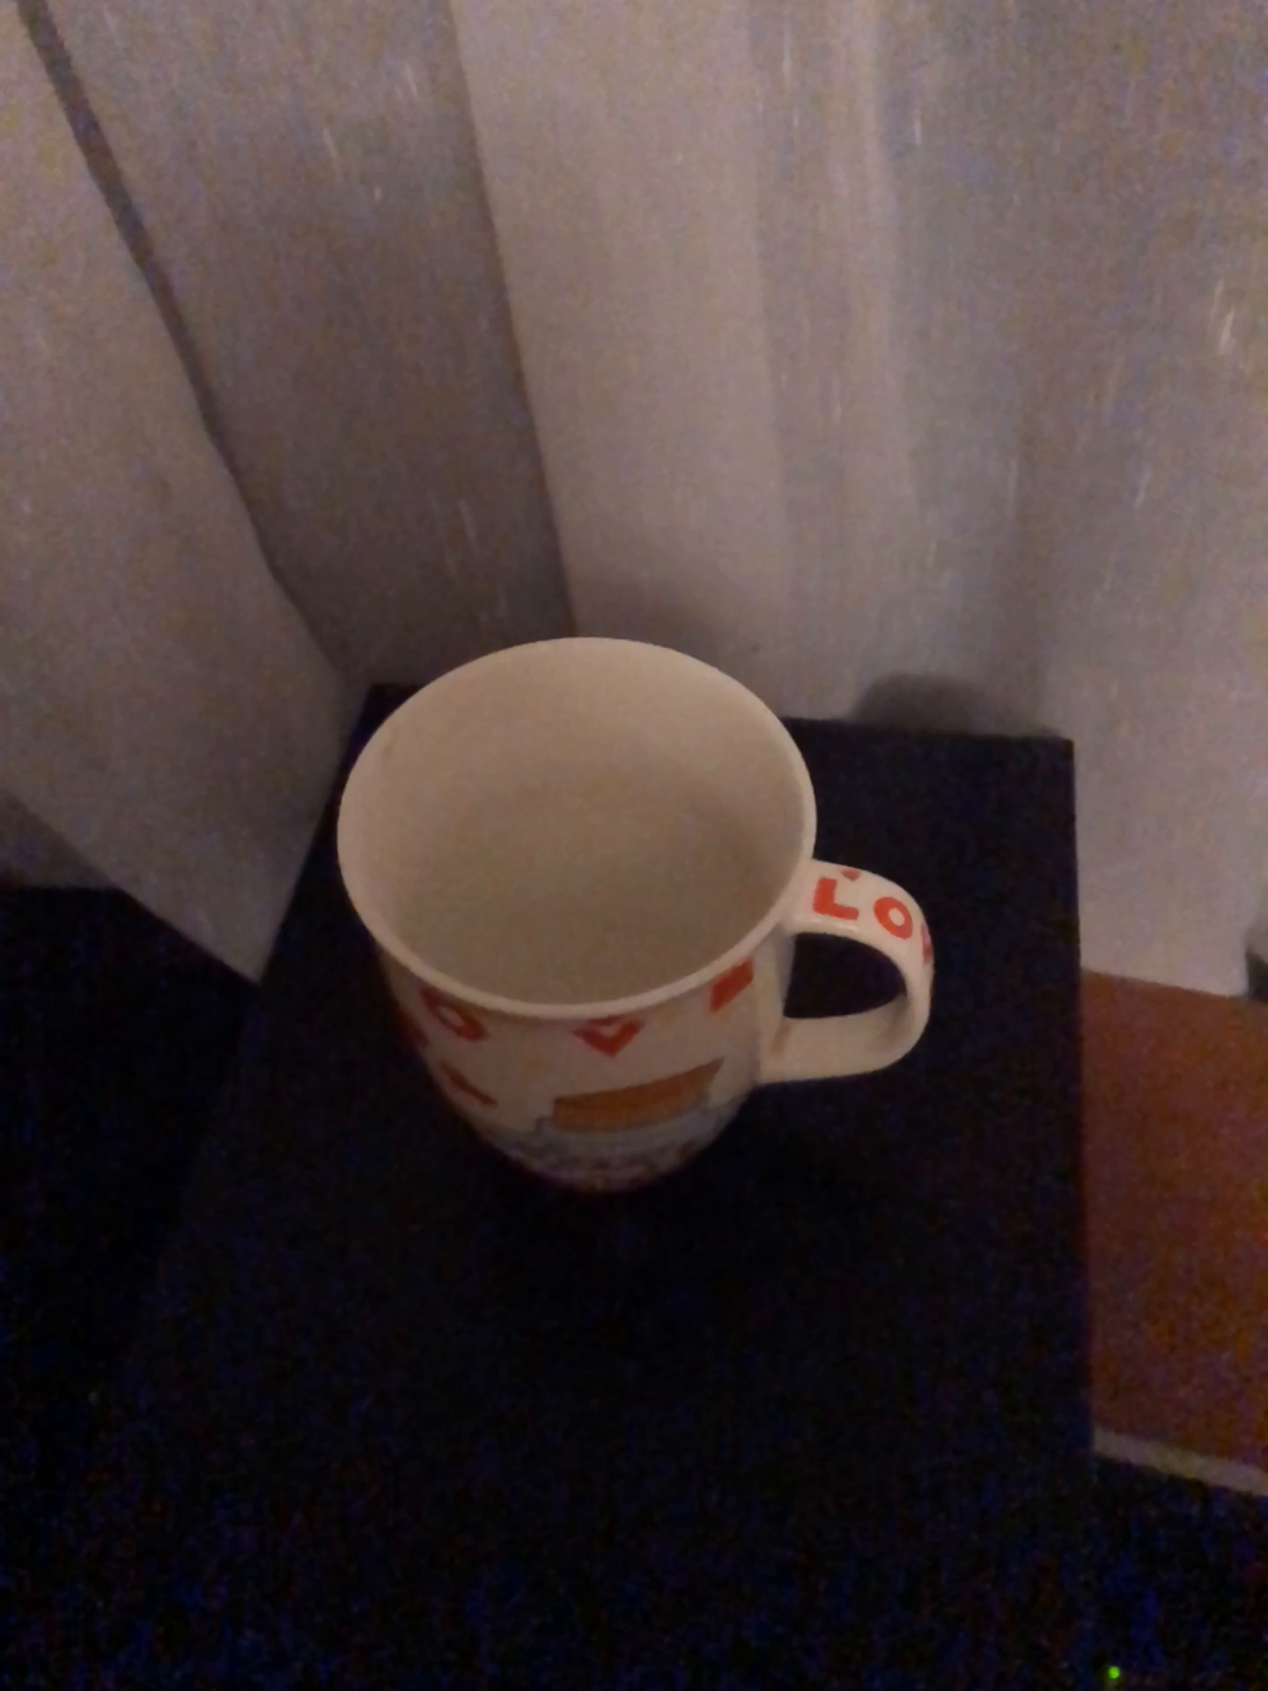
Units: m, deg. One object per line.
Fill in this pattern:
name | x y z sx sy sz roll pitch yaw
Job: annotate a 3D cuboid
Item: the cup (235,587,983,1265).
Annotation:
cup | 0.003 0.017 0.271 0.111 0.098 0.078 5 54 9
